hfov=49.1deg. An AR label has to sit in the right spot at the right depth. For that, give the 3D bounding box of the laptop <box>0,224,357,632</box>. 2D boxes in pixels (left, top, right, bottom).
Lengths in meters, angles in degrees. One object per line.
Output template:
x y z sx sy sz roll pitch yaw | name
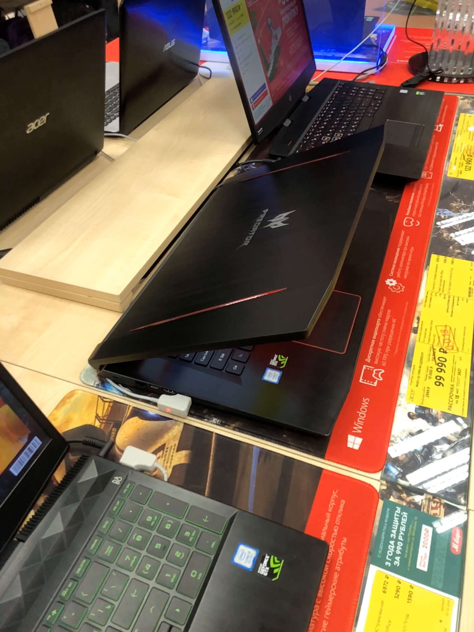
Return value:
-0.149 0.175 0.272 0.342 0.230 0.352 14 44 16 | laptop

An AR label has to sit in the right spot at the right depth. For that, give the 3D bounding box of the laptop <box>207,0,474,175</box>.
0.205 -0.497 0.965 0.355 0.251 0.379 15 46 15 | laptop

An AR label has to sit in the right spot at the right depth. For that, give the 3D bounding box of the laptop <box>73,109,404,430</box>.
0.039 -0.100 0.646 0.261 0.124 0.421 13 45 15 | laptop
